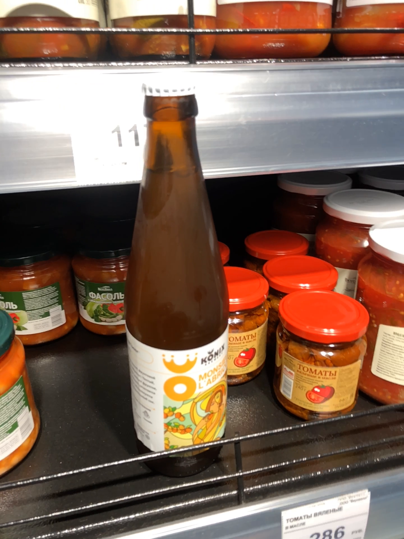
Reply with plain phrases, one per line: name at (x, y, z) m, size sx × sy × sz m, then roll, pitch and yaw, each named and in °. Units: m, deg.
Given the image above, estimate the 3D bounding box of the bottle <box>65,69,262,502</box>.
bottle at (-0.019, 0.016, 0.273) m, size 0.070 × 0.249 × 0.070 m, roll -1°, pitch 26°, yaw 0°
